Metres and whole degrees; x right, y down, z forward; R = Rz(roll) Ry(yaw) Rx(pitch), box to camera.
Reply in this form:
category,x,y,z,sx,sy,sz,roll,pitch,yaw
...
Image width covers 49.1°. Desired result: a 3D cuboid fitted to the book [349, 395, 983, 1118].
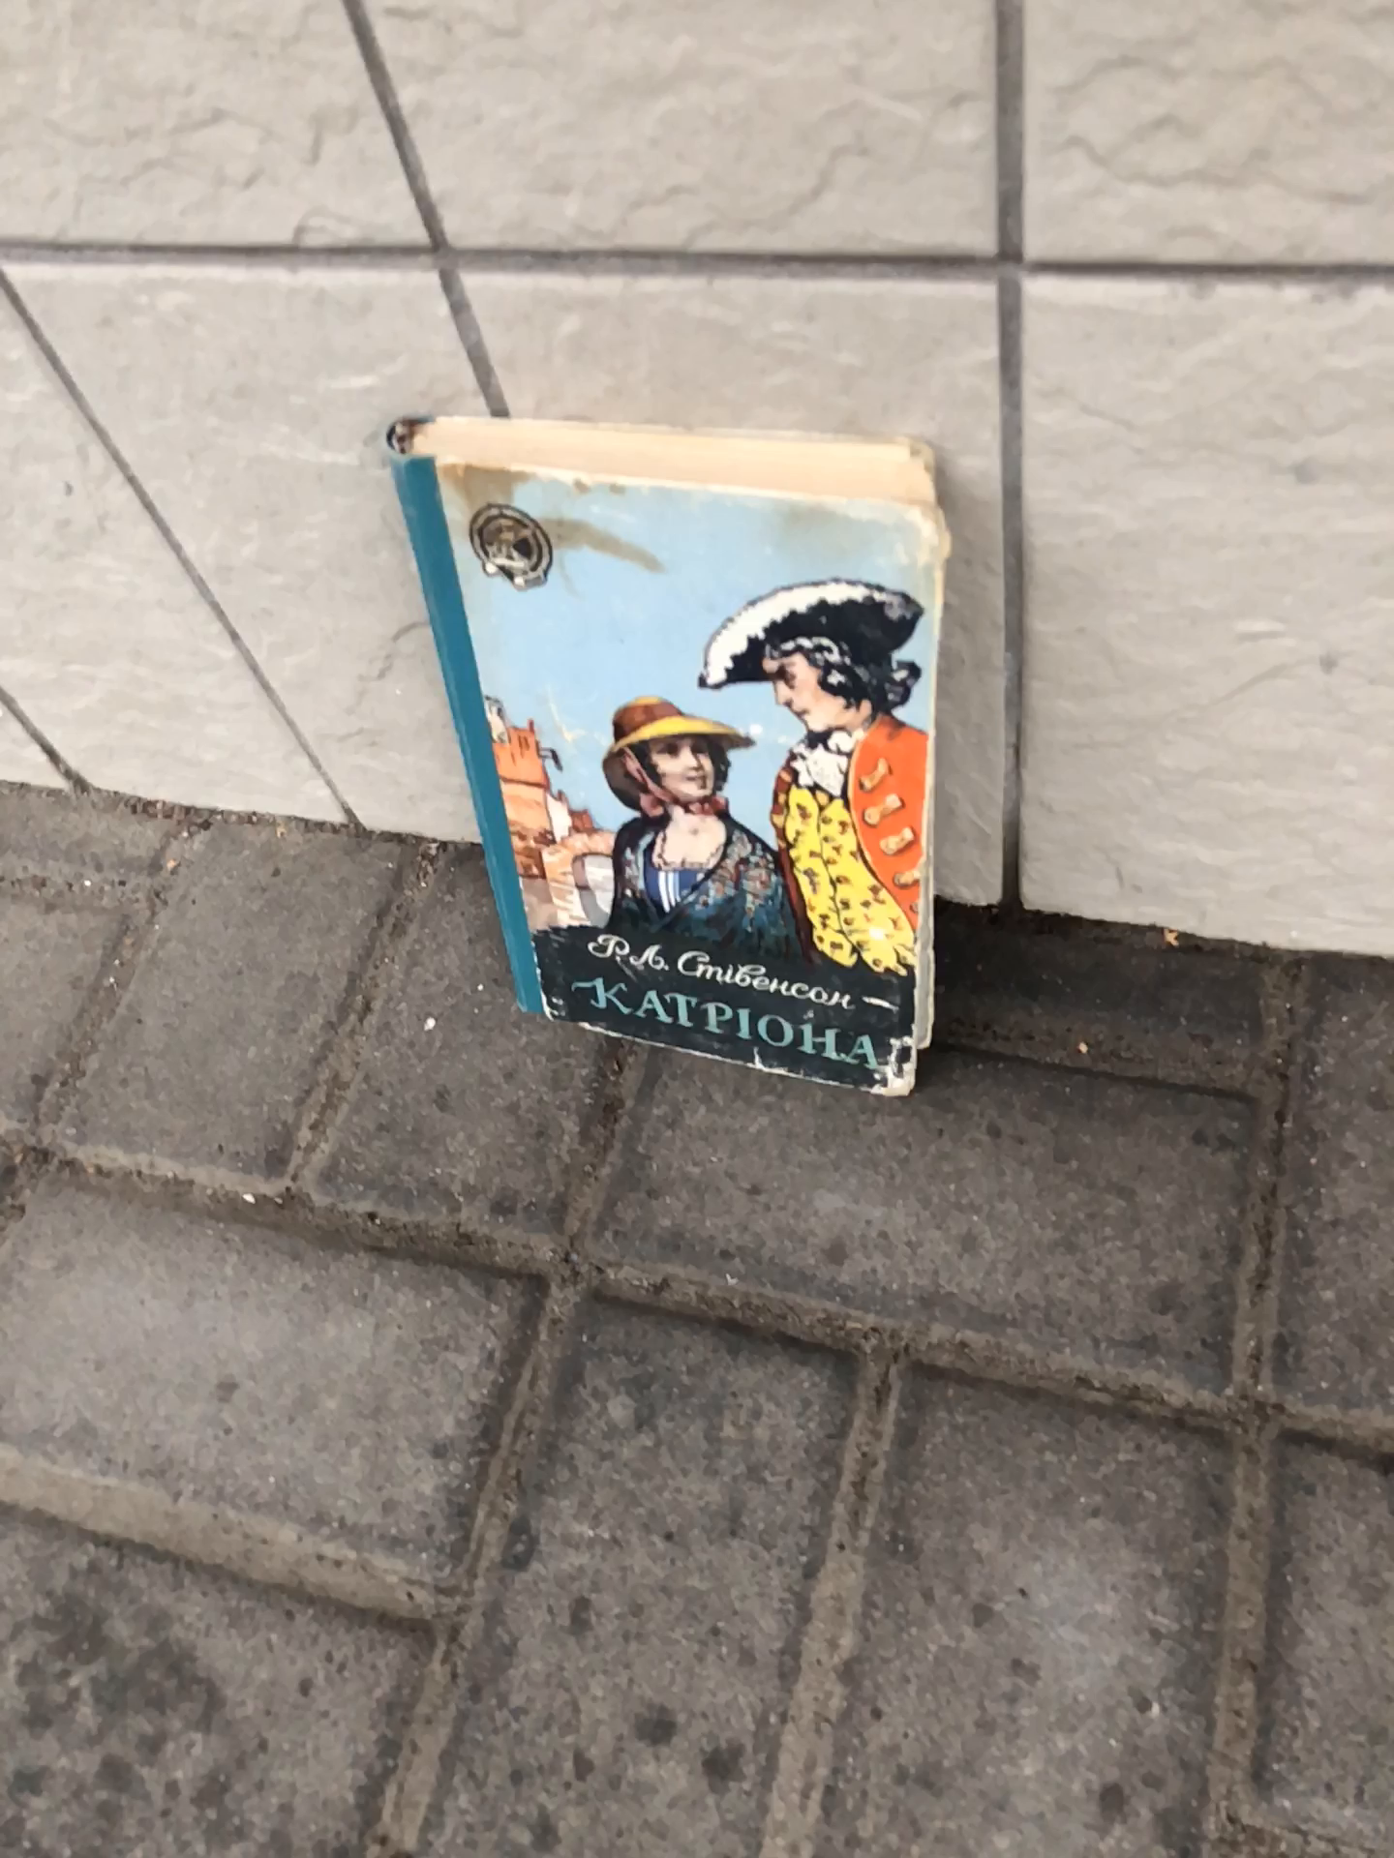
category,x,y,z,sx,sy,sz,roll,pitch,yaw
book,0.000,-0.036,0.393,0.134,0.189,0.030,11,49,18
